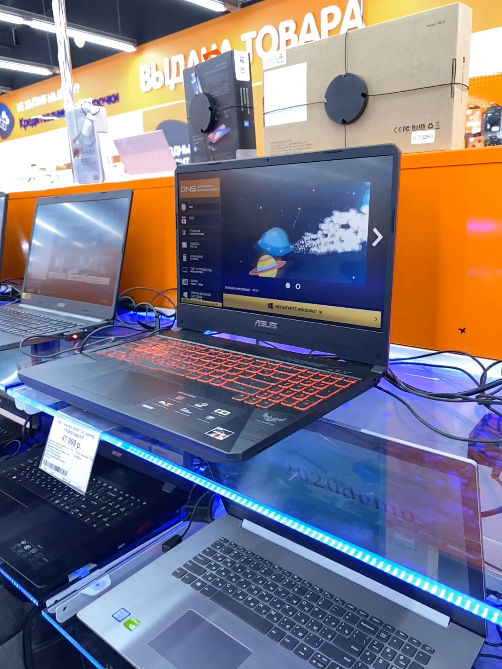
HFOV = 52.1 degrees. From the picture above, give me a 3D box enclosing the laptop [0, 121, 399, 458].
[{"bbox_3d":[-0.060,-0.079,0.598,0.360,0.248,0.286,9,18,39],"label":"laptop"}]
